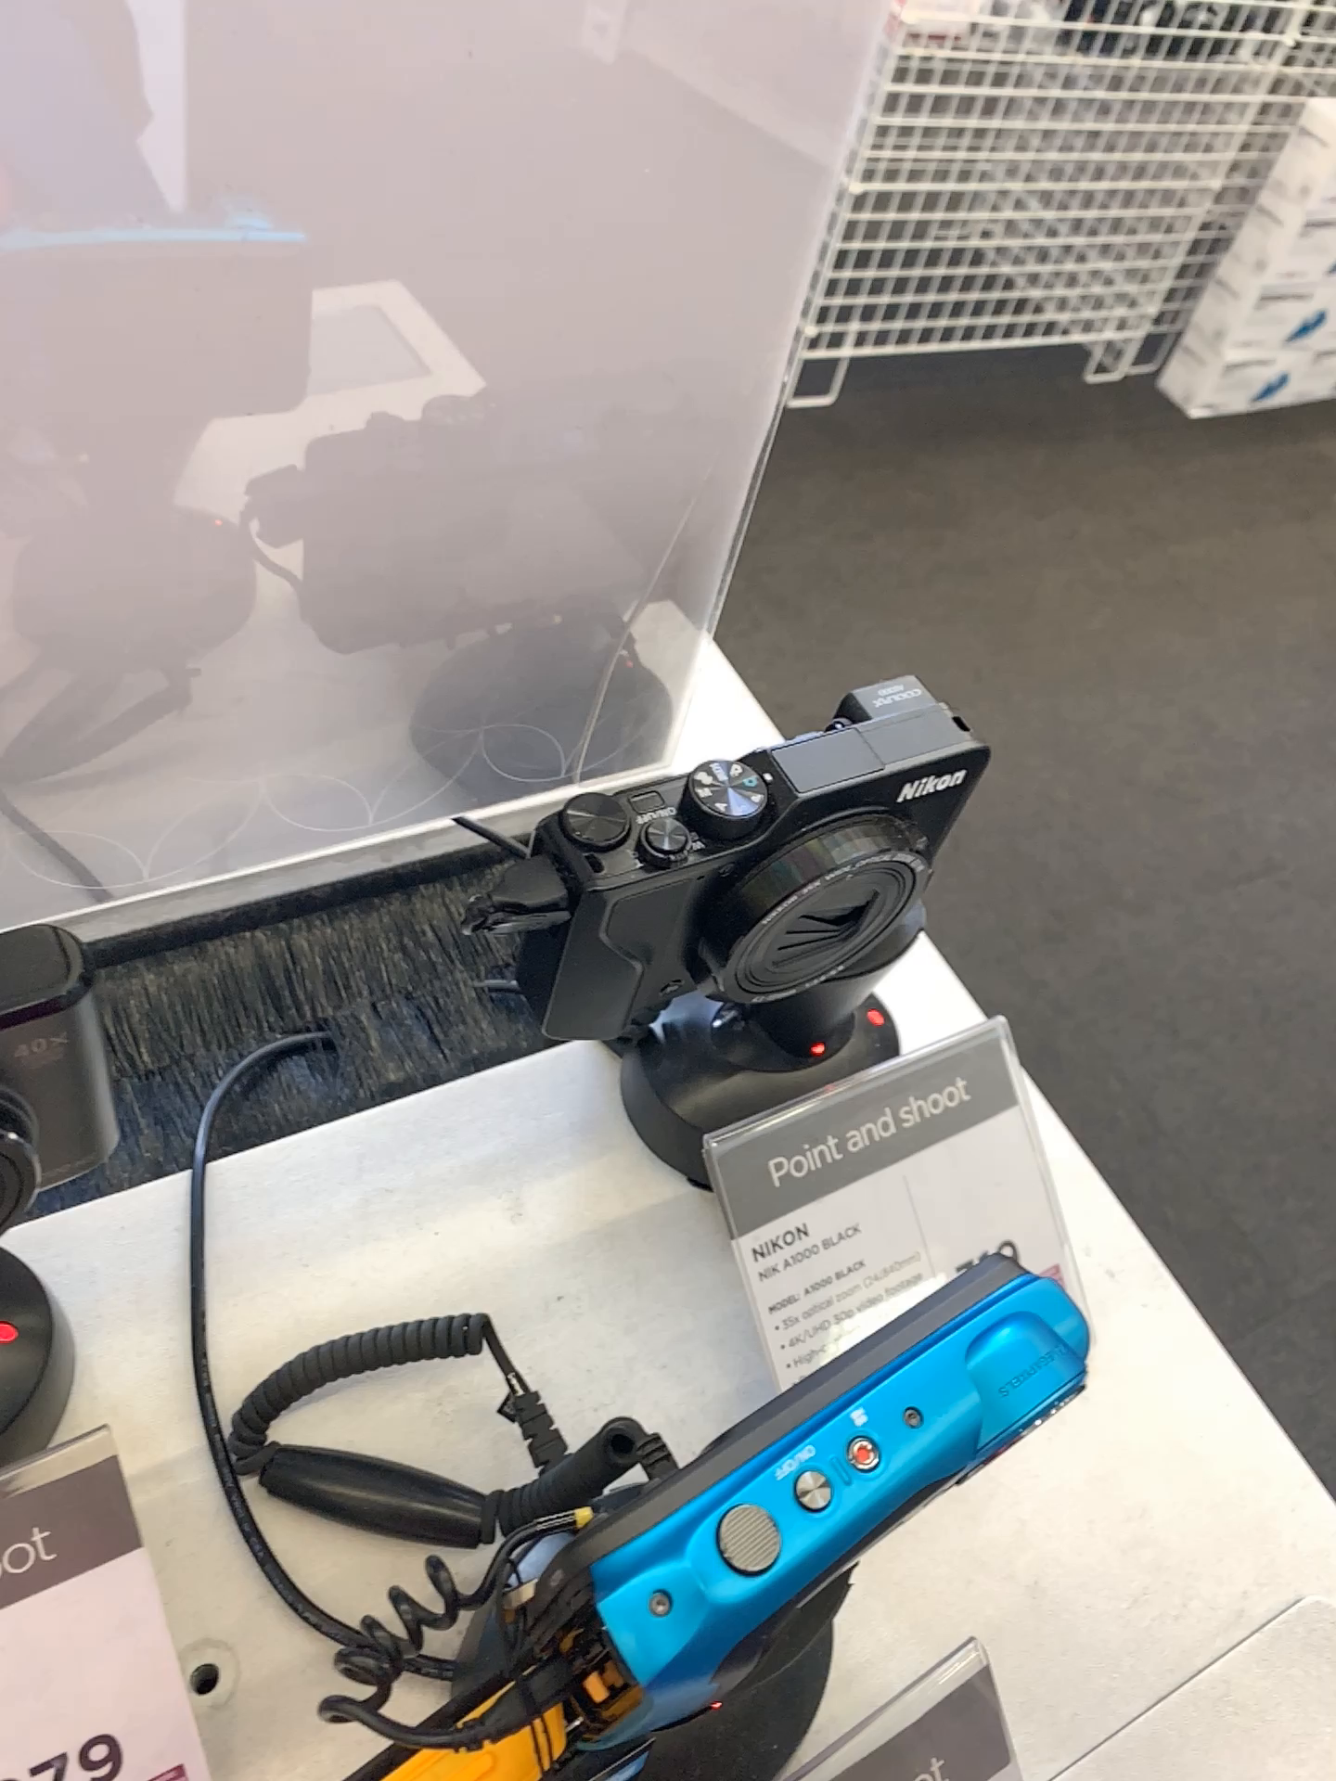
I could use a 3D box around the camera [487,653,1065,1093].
[{"bbox_3d":[0.023,-0.005,0.321,0.120,0.079,0.030,-17,57,-28],"label":"camera"}]
